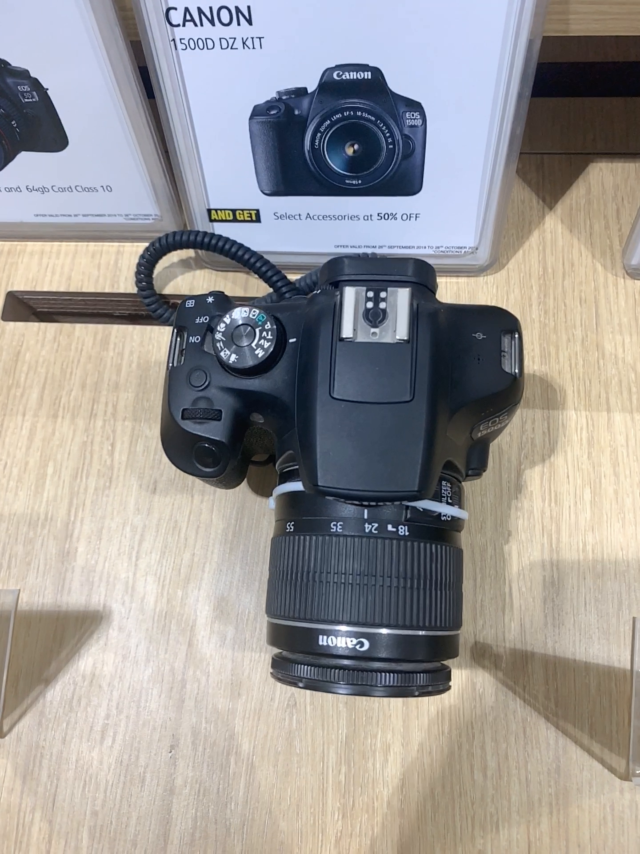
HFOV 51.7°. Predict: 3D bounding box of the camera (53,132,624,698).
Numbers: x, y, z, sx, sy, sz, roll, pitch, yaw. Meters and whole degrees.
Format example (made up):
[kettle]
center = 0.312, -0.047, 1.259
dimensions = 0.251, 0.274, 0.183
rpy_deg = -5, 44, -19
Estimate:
[camera]
center = 0.009, 0.000, 0.232
dimensions = 0.140, 0.100, 0.160
rpy_deg = 1, 73, 6
